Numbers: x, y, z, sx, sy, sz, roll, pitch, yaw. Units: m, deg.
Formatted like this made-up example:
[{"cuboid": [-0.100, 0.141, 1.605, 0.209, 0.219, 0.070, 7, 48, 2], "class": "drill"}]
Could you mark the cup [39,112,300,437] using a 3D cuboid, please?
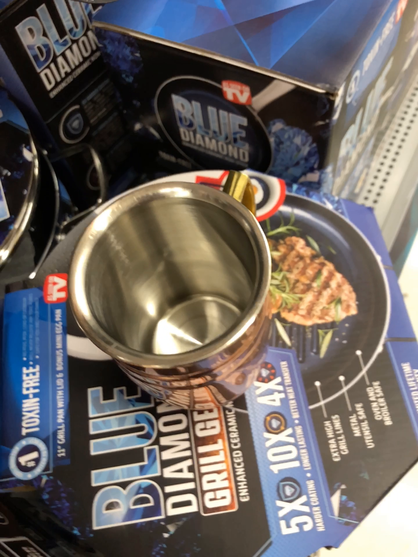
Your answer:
[{"cuboid": [-0.007, 0.006, 0.262, 0.086, 0.126, 0.127, 9, 66, 10], "class": "cup"}]
